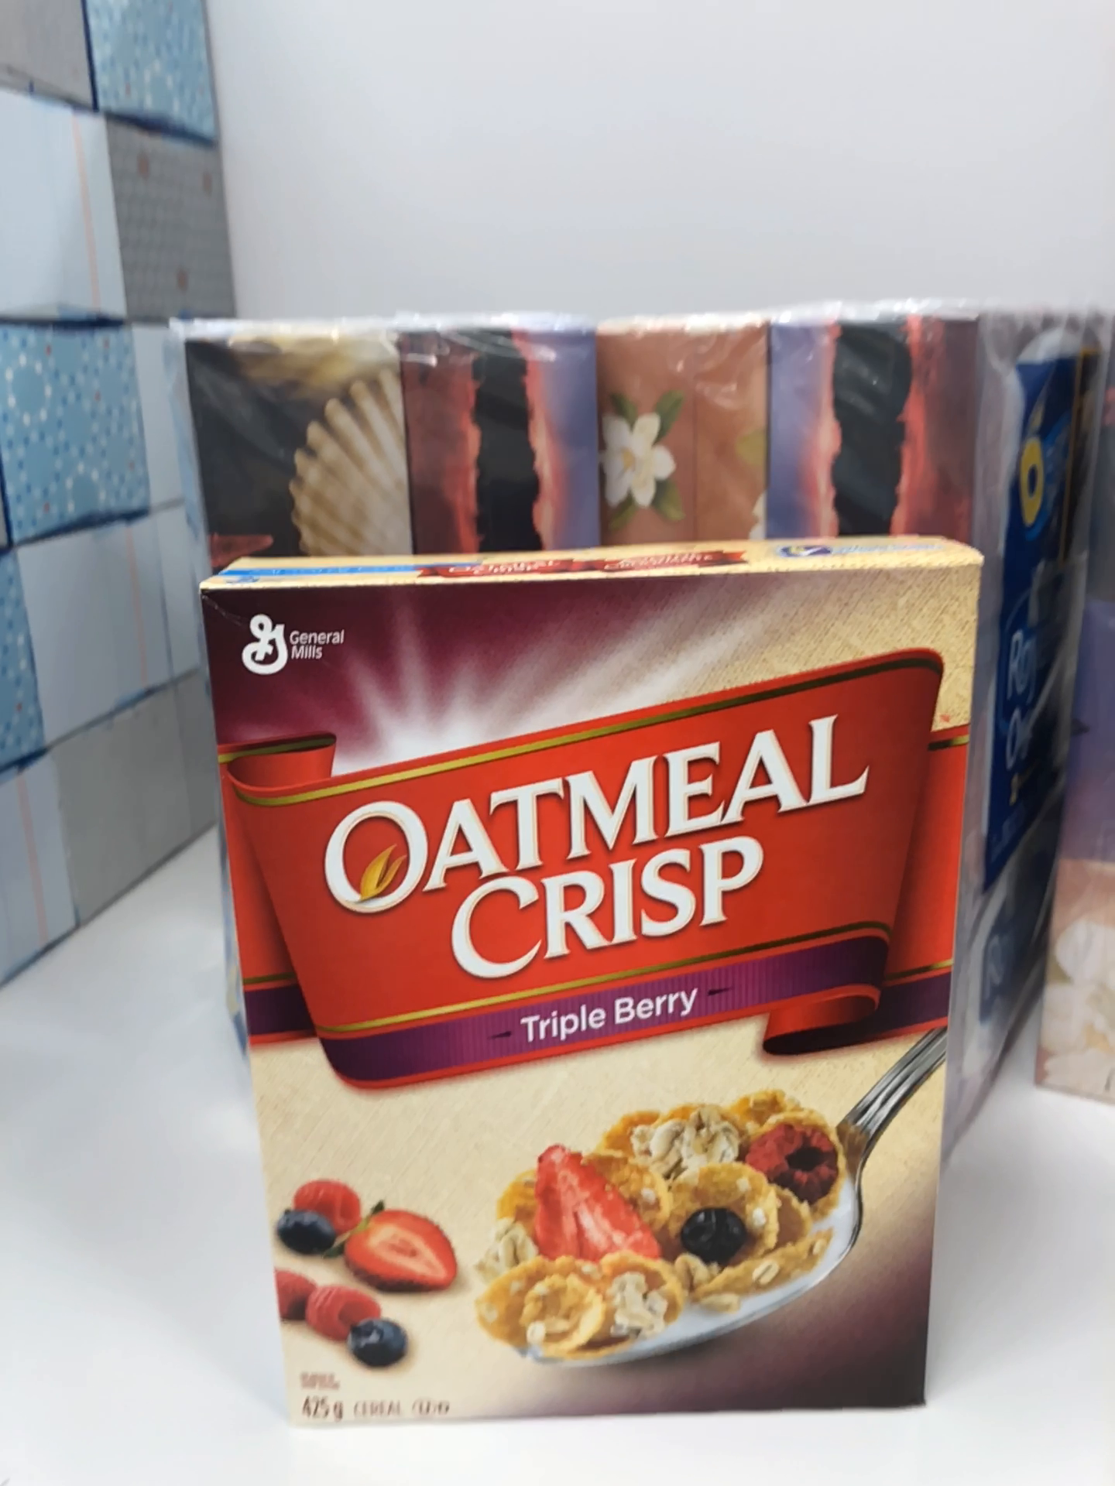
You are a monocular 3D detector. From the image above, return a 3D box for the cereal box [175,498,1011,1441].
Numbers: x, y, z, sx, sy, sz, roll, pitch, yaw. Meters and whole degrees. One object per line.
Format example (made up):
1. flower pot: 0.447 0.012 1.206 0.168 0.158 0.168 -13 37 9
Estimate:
1. cereal box: 0.012 0.071 0.365 0.200 0.269 0.060 -1 16 1
